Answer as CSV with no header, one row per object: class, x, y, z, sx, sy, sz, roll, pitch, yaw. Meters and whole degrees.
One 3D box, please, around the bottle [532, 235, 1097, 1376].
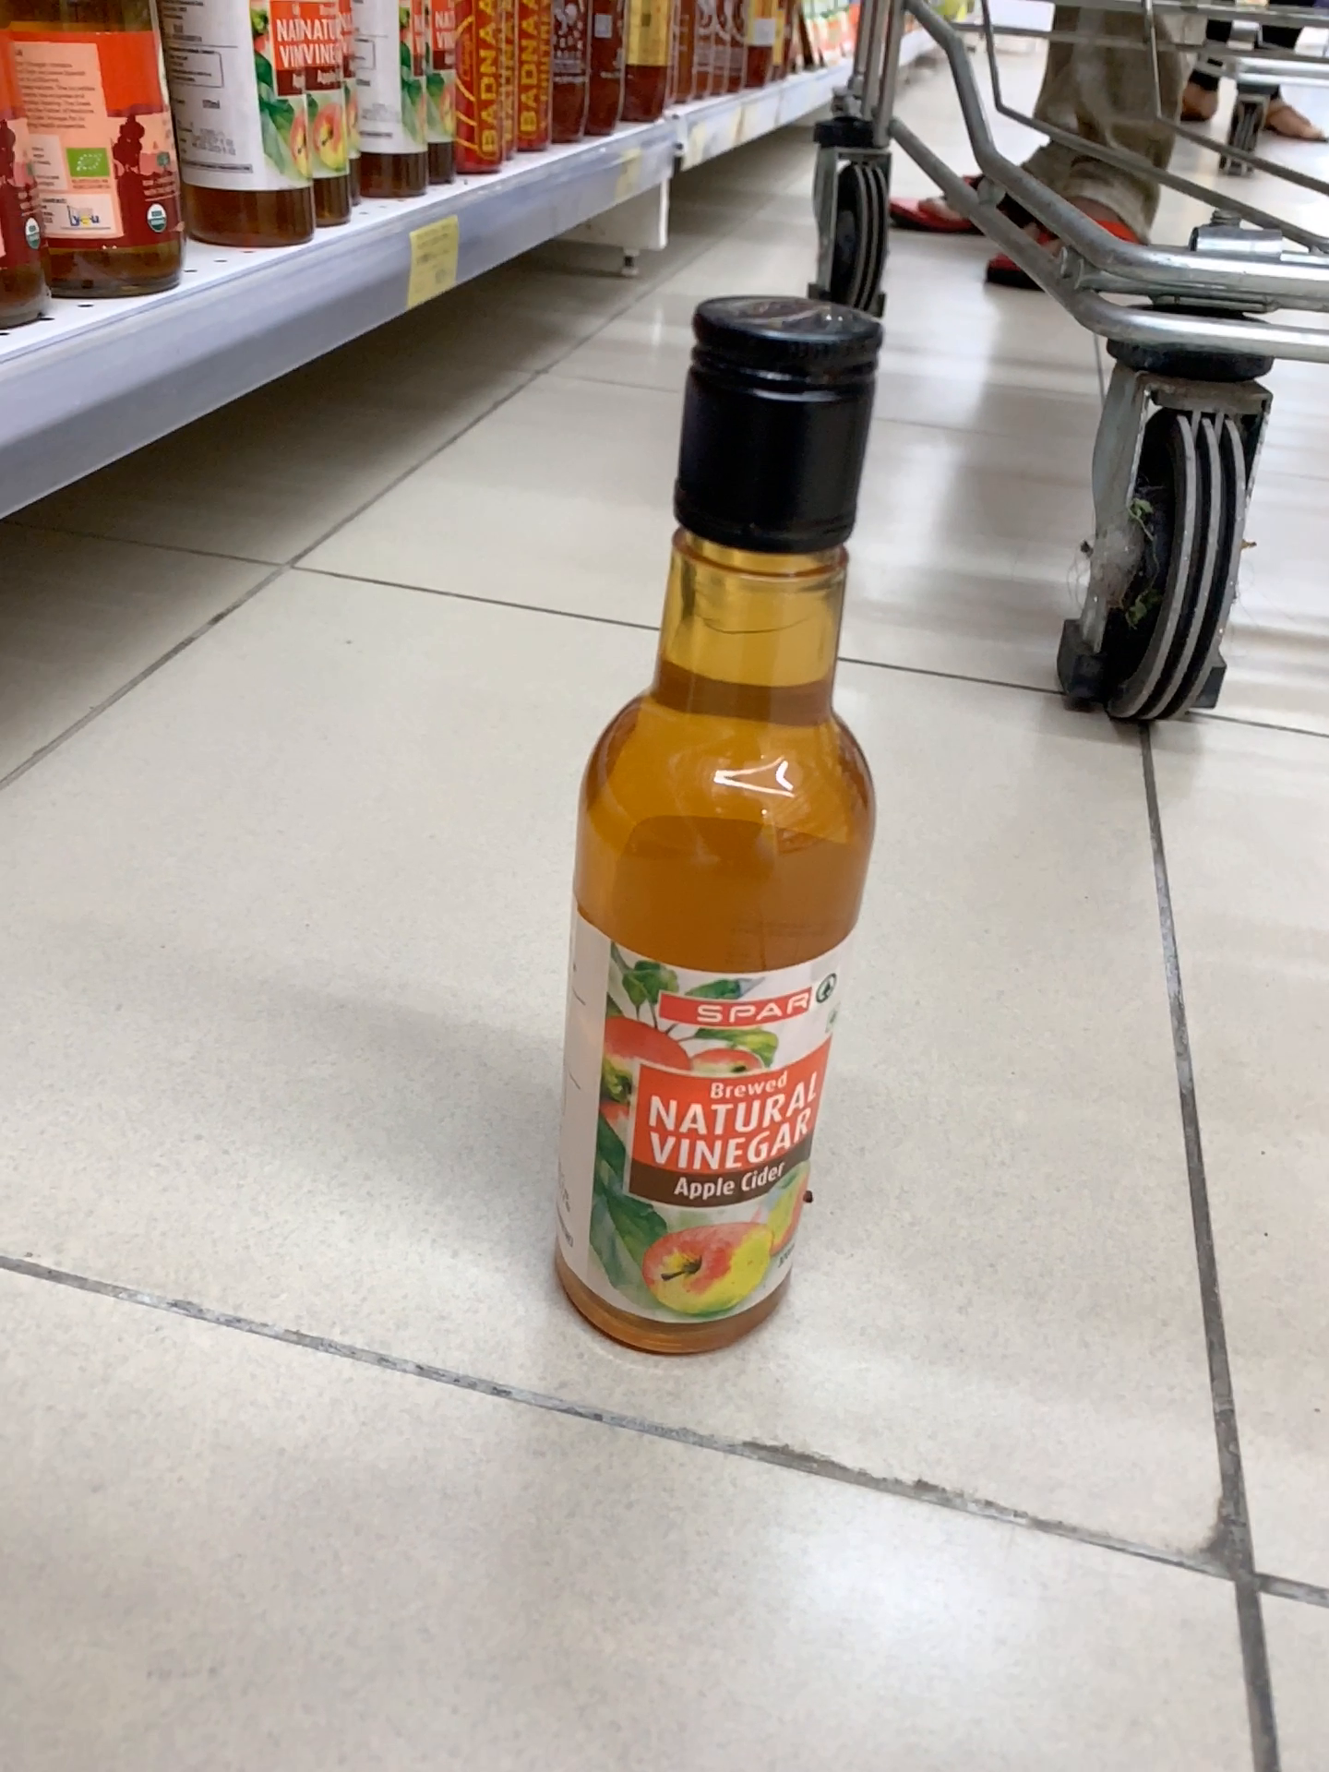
bottle,0.013,-0.002,0.270,0.070,0.219,0.060,-3,34,-11
